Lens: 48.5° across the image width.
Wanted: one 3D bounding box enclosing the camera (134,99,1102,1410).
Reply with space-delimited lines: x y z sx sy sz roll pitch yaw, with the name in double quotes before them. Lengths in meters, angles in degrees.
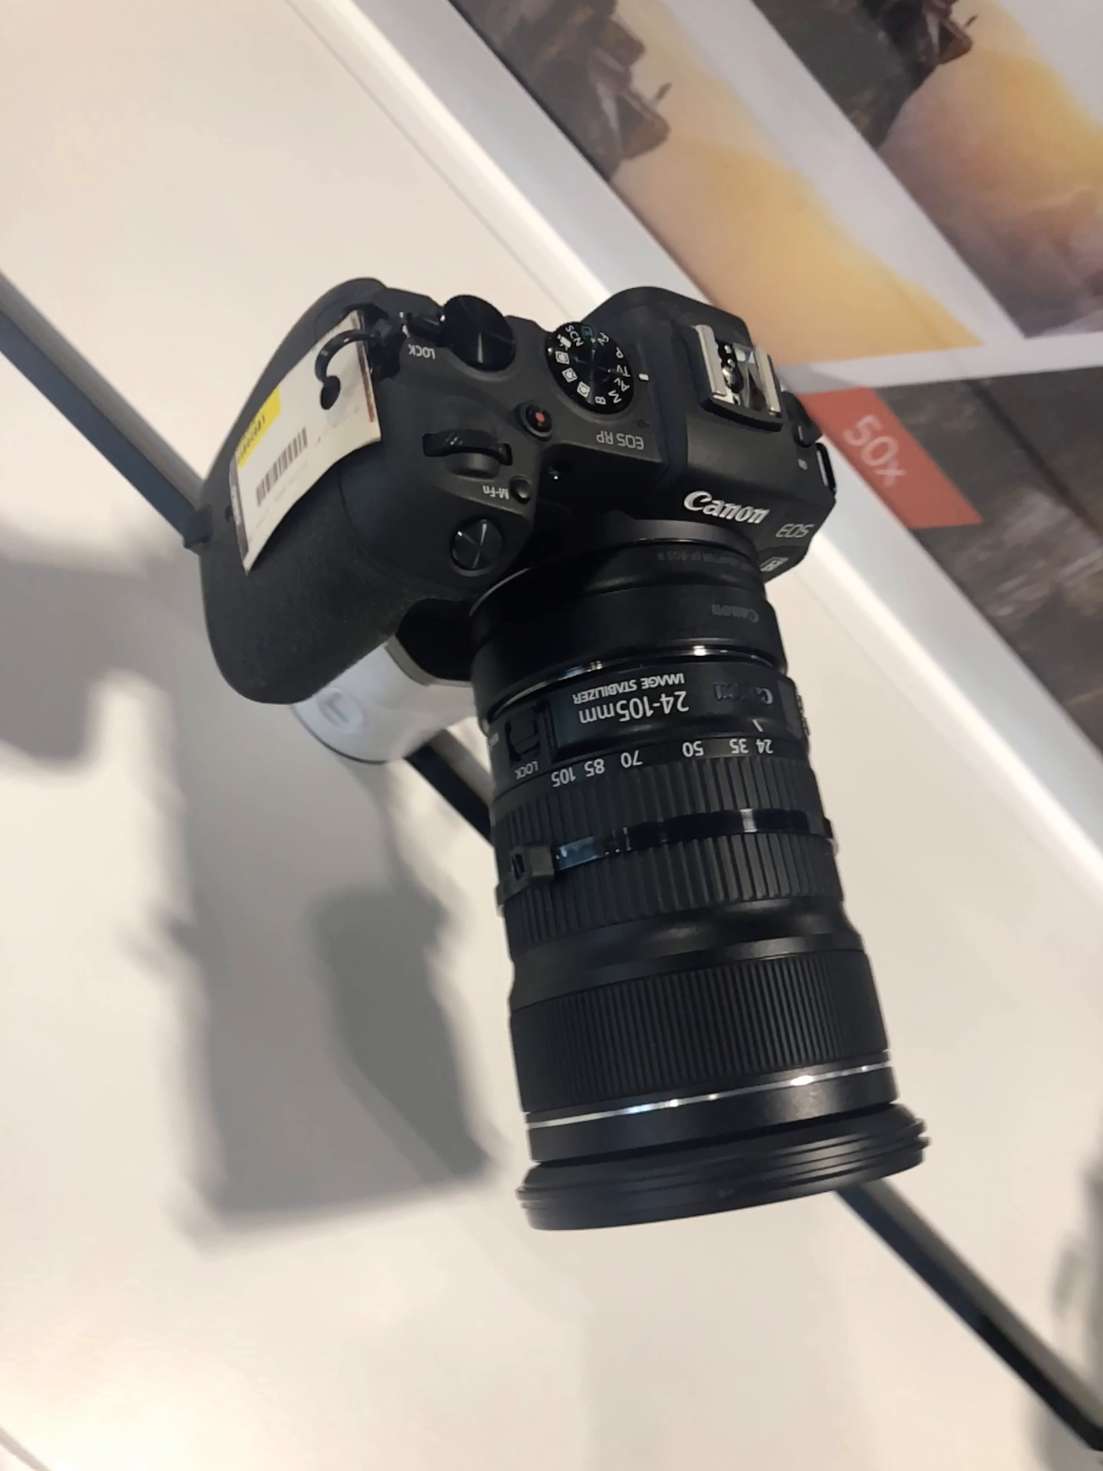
"camera" 0.014 0.005 0.241 0.136 0.089 0.190 1 67 -40
